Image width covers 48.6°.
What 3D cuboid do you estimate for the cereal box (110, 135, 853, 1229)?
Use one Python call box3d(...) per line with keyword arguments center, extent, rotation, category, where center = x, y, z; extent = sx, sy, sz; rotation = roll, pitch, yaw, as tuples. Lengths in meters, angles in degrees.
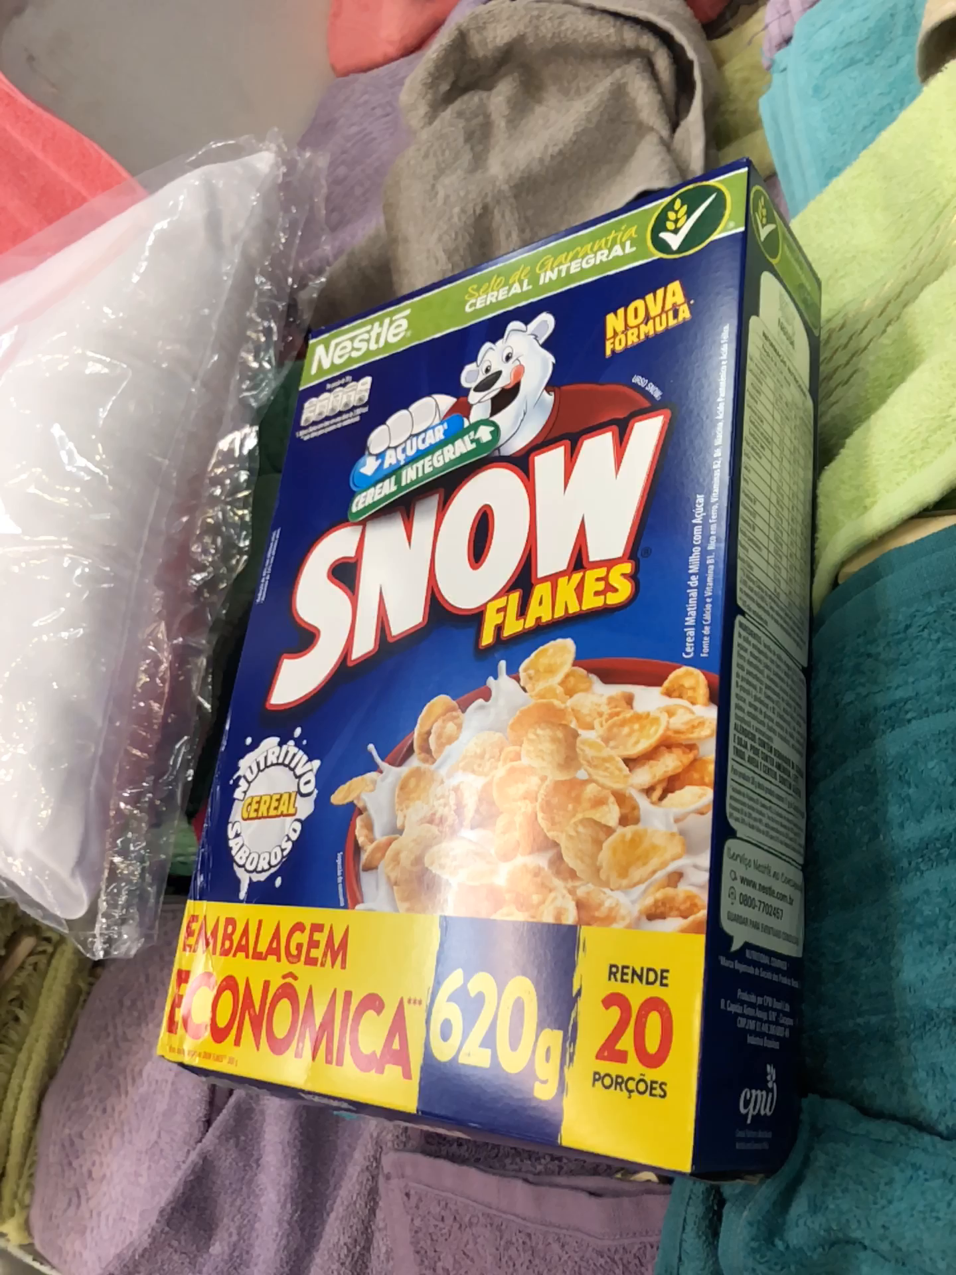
box3d(center=(0.004, 0.009, 0.367), extent=(0.221, 0.070, 0.301), rotation=(-8, 63, 39), category="cereal box")
